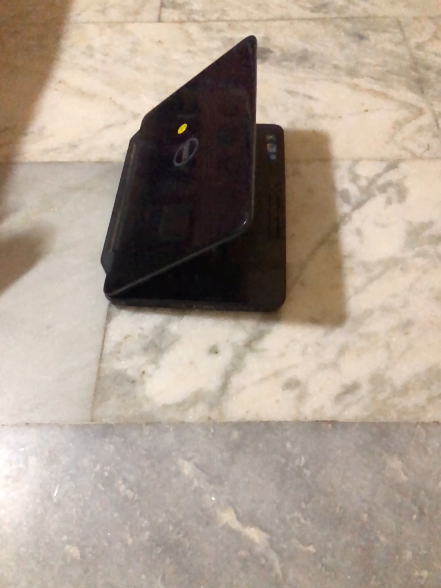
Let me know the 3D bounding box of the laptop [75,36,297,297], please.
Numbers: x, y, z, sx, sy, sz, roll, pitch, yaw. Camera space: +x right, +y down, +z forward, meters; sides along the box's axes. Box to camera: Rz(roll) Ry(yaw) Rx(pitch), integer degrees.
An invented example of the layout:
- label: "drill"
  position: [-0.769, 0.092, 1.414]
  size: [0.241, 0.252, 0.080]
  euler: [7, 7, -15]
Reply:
- label: "laptop"
  position: [-0.029, -0.185, 0.673]
  size: [0.234, 0.161, 0.352]
  euler: [0, 55, 4]
